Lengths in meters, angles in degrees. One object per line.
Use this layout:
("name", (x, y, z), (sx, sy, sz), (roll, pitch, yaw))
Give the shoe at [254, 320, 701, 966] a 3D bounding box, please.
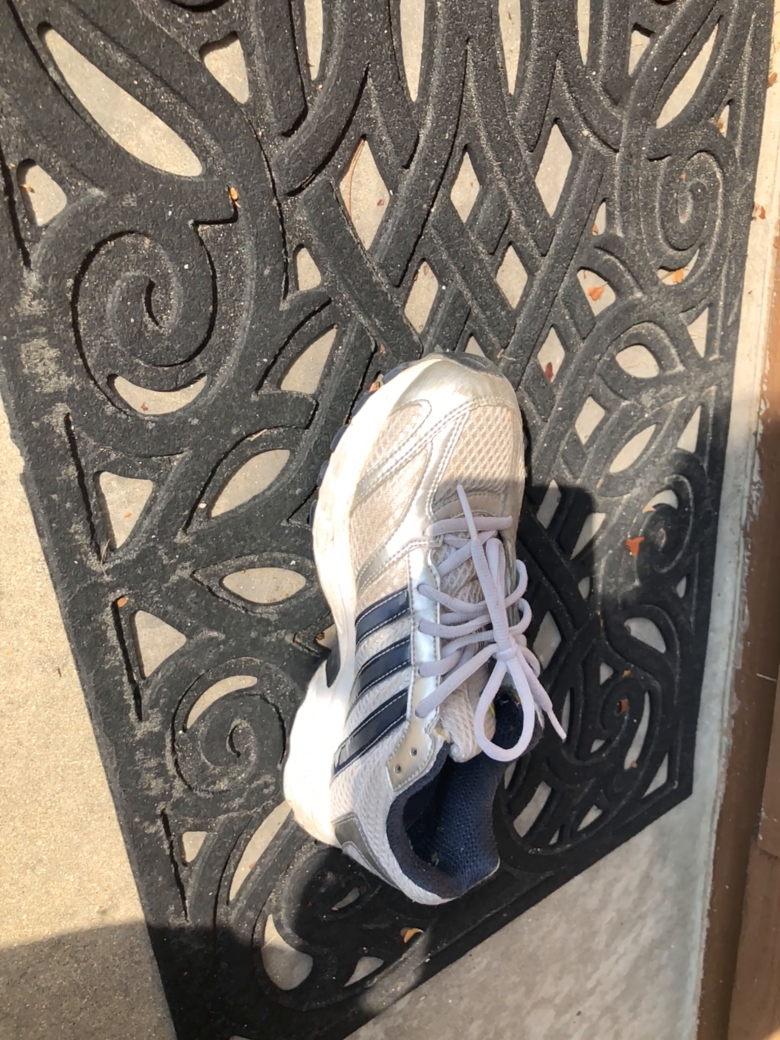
("shoe", (0.030, 0.049, 0.424), (0.111, 0.129, 0.261), (-1, 108, -37))
